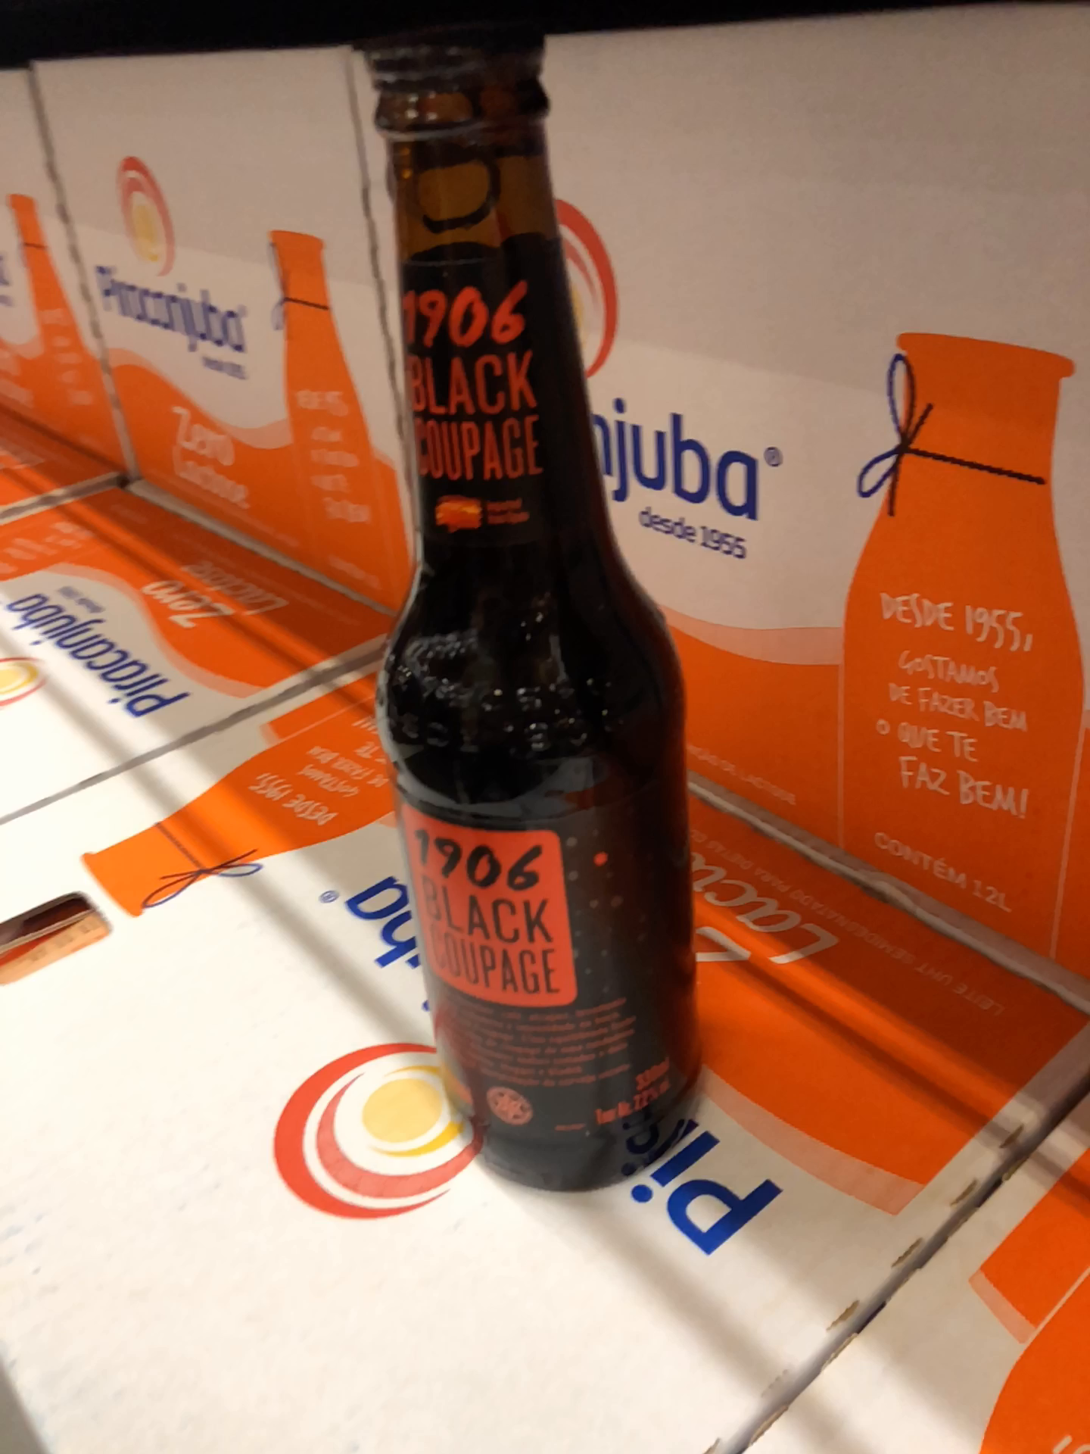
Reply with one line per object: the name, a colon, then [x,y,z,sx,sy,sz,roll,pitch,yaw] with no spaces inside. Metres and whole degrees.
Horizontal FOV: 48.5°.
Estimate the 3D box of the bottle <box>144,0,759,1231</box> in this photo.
bottle: [-0.001,-0.009,0.229,0.070,0.218,0.060,7,33,20]
